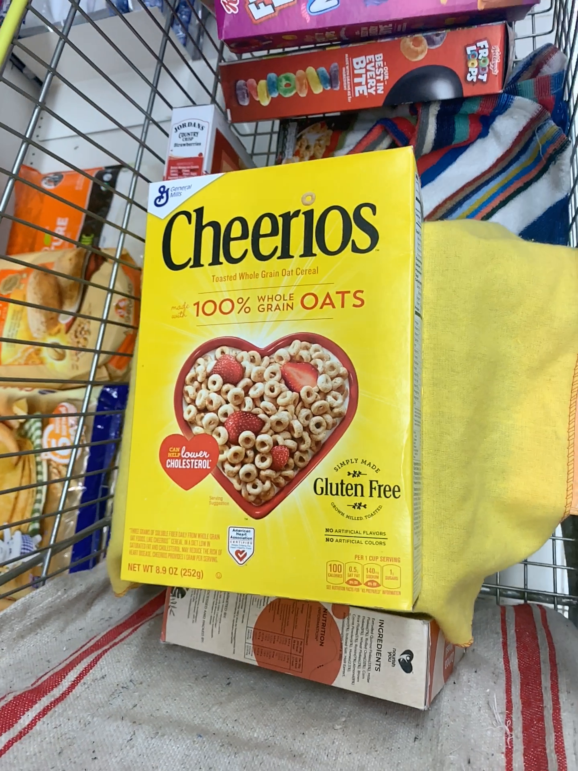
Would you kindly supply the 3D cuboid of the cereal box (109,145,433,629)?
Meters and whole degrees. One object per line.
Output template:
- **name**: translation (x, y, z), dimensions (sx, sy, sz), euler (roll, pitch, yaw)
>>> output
- **cereal box**: translation (-0.008, -0.001, 0.386), dimensions (0.190, 0.060, 0.270), euler (-1, 80, 19)
